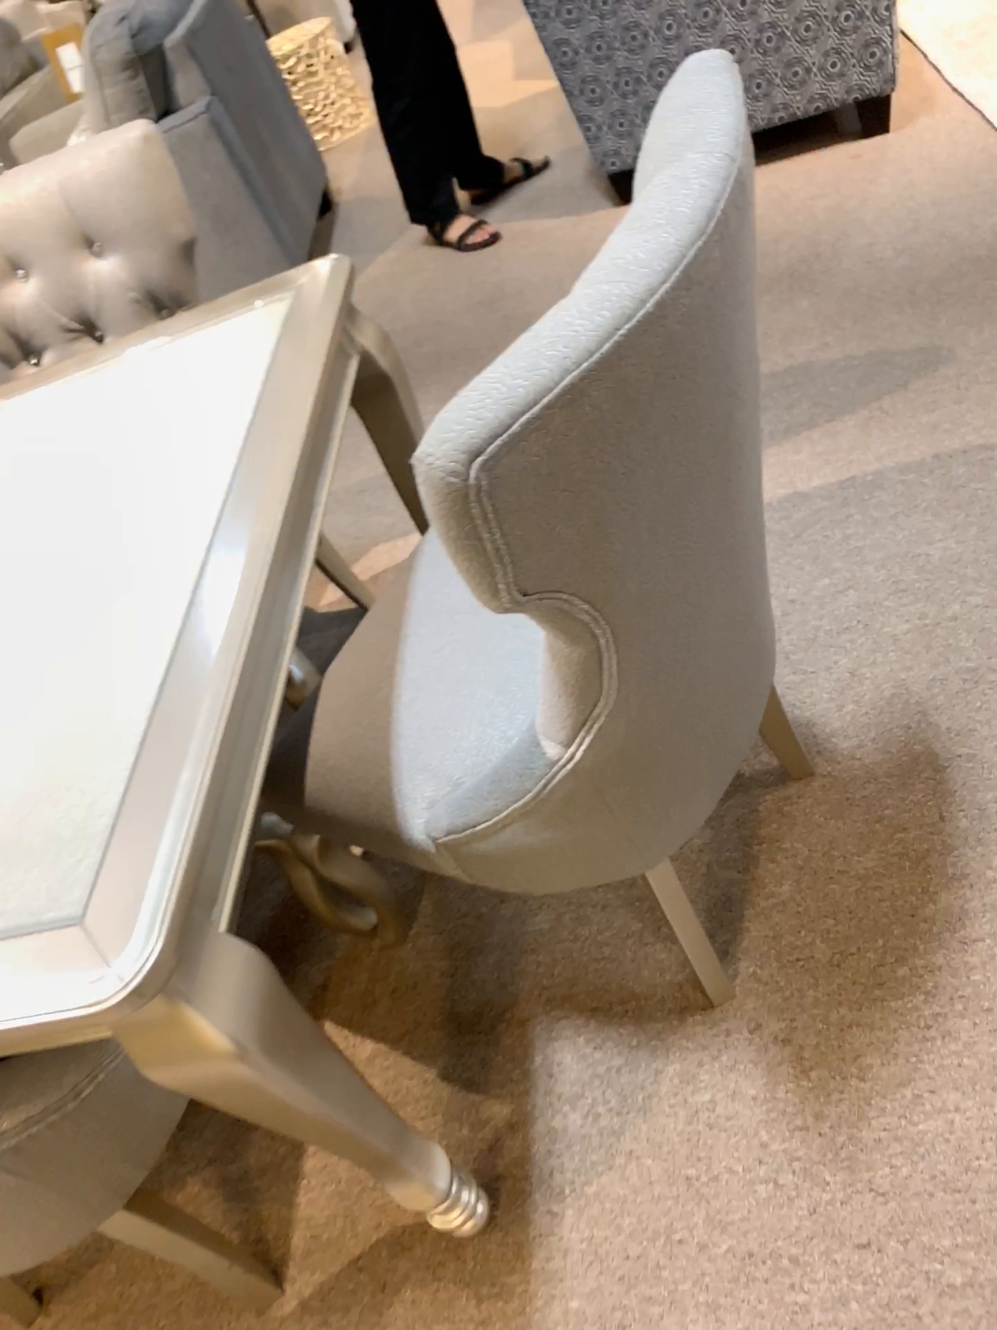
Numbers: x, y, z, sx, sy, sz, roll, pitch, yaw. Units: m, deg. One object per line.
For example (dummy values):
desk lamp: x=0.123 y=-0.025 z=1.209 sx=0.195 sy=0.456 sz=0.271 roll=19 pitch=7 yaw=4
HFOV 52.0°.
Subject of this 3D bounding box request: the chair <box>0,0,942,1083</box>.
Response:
chair: x=0.041 y=-0.103 z=1.137 sx=0.682 sy=0.915 sz=0.581 roll=7 pitch=52 yaw=33
